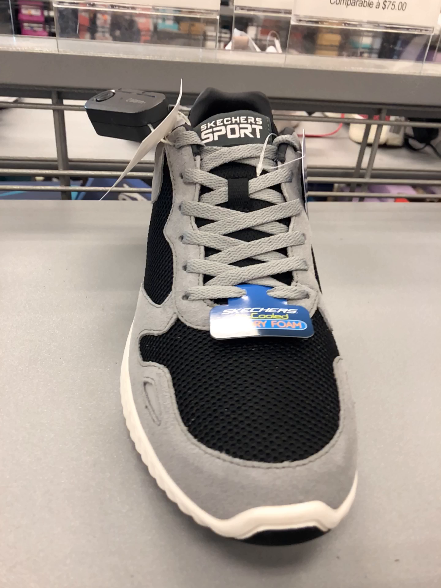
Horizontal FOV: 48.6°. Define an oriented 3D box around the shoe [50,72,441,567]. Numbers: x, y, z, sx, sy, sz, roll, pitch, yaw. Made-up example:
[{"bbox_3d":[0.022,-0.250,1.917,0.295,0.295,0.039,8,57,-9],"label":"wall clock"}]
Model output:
[{"bbox_3d":[0.004,-0.029,0.282,0.120,0.119,0.302,2,35,-6],"label":"shoe"}]
